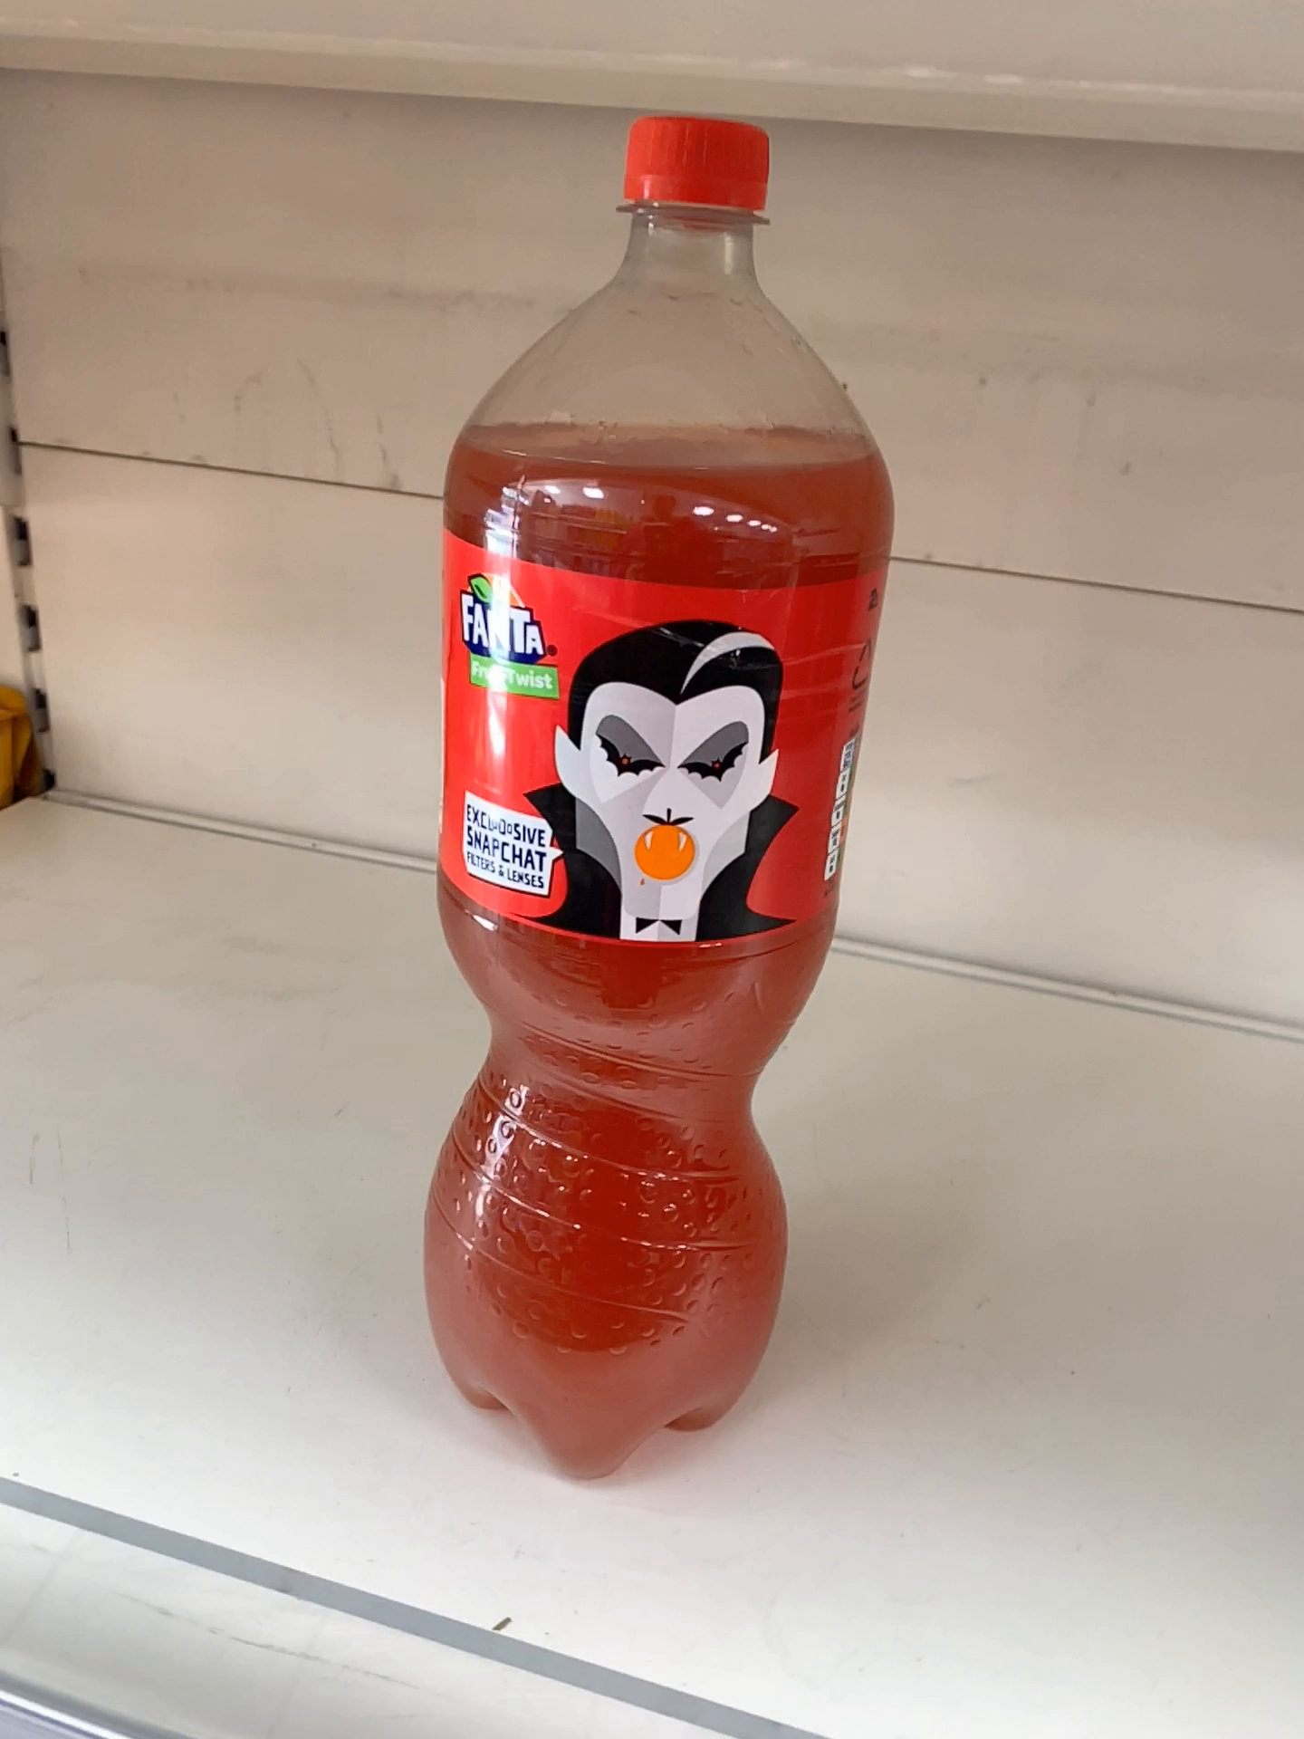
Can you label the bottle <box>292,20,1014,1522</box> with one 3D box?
[{"bbox_3d":[-0.007,-0.010,0.338,0.120,0.327,0.111,4,24,-2],"label":"bottle"}]
